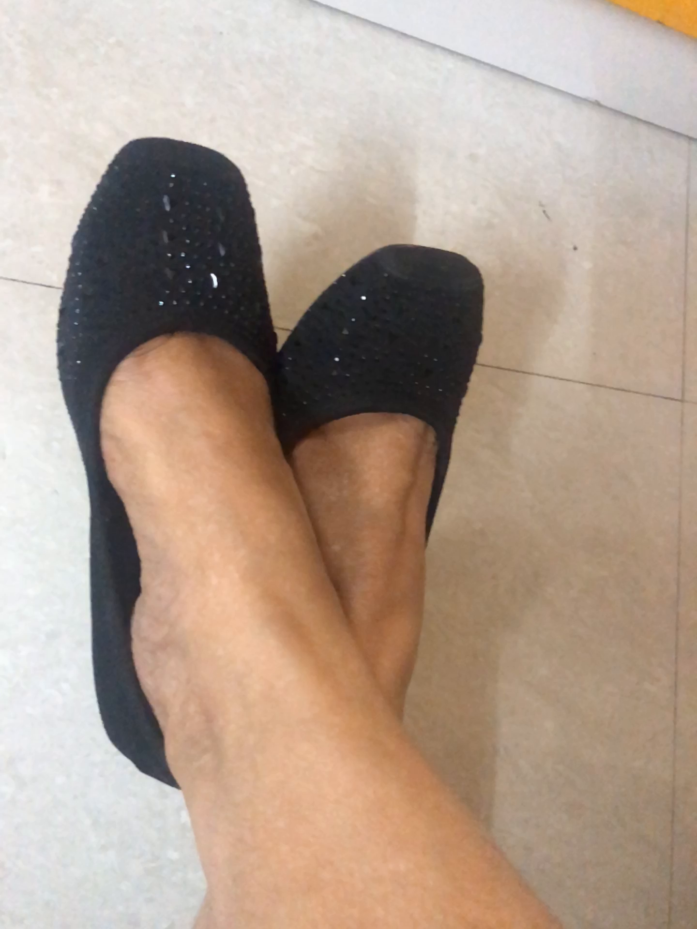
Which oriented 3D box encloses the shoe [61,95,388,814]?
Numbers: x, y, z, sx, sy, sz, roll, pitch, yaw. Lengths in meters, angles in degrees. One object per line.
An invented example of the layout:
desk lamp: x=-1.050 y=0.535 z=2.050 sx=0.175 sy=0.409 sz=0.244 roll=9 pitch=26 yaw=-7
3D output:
shoe: x=-0.058 y=0.001 z=0.327 sx=0.100 sy=0.070 sz=0.270 roll=-6 pitch=112 yaw=-30

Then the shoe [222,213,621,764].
shoe: x=0.019 y=0.022 z=0.359 sx=0.100 sy=0.070 sz=0.240 roll=6 pitch=116 yaw=-22
